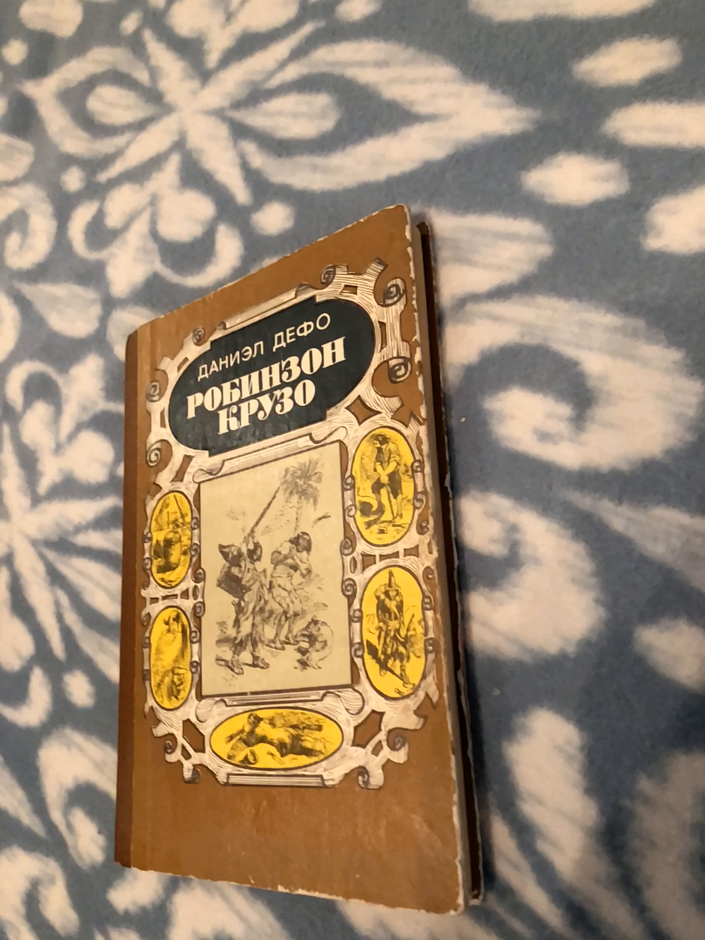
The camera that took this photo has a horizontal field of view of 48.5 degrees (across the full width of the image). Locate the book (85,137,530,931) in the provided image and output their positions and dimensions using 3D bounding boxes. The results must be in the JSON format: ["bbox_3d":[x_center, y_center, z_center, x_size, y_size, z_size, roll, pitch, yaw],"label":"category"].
[{"bbox_3d":[-0.033,0.023,0.296,0.179,0.024,0.242,-15,70,36],"label":"book"}]
